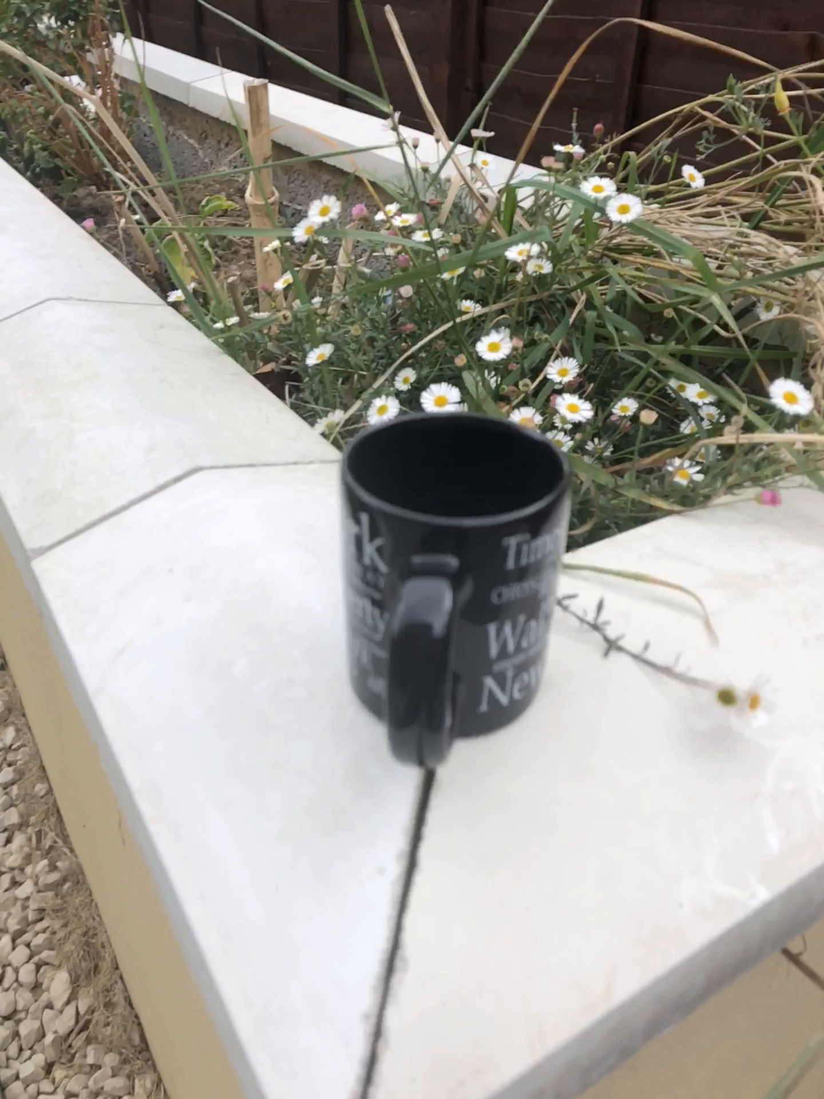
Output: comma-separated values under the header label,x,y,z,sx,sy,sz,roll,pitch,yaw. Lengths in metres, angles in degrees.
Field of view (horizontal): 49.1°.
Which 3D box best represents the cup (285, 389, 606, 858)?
label,x,y,z,sx,sy,sz,roll,pitch,yaw
cup,0.010,0.013,0.225,0.060,0.069,0.091,5,33,5
